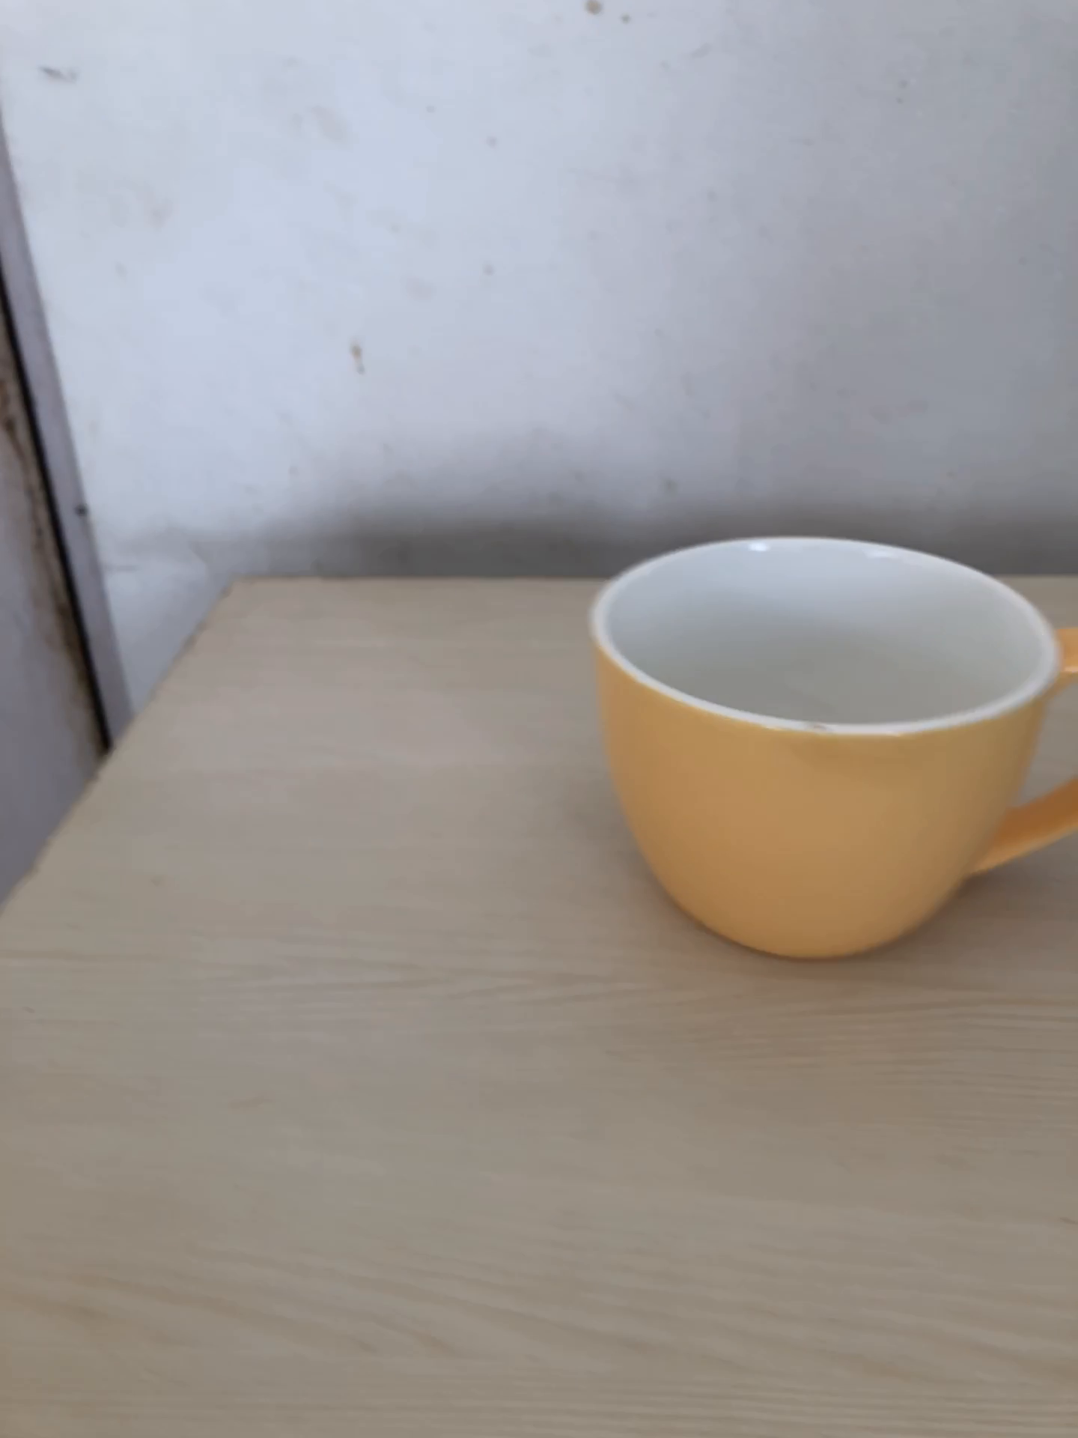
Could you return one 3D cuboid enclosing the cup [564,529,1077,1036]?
[{"bbox_3d":[0.080,0.009,0.297,0.140,0.080,0.101,1,29,5],"label":"cup"}]
